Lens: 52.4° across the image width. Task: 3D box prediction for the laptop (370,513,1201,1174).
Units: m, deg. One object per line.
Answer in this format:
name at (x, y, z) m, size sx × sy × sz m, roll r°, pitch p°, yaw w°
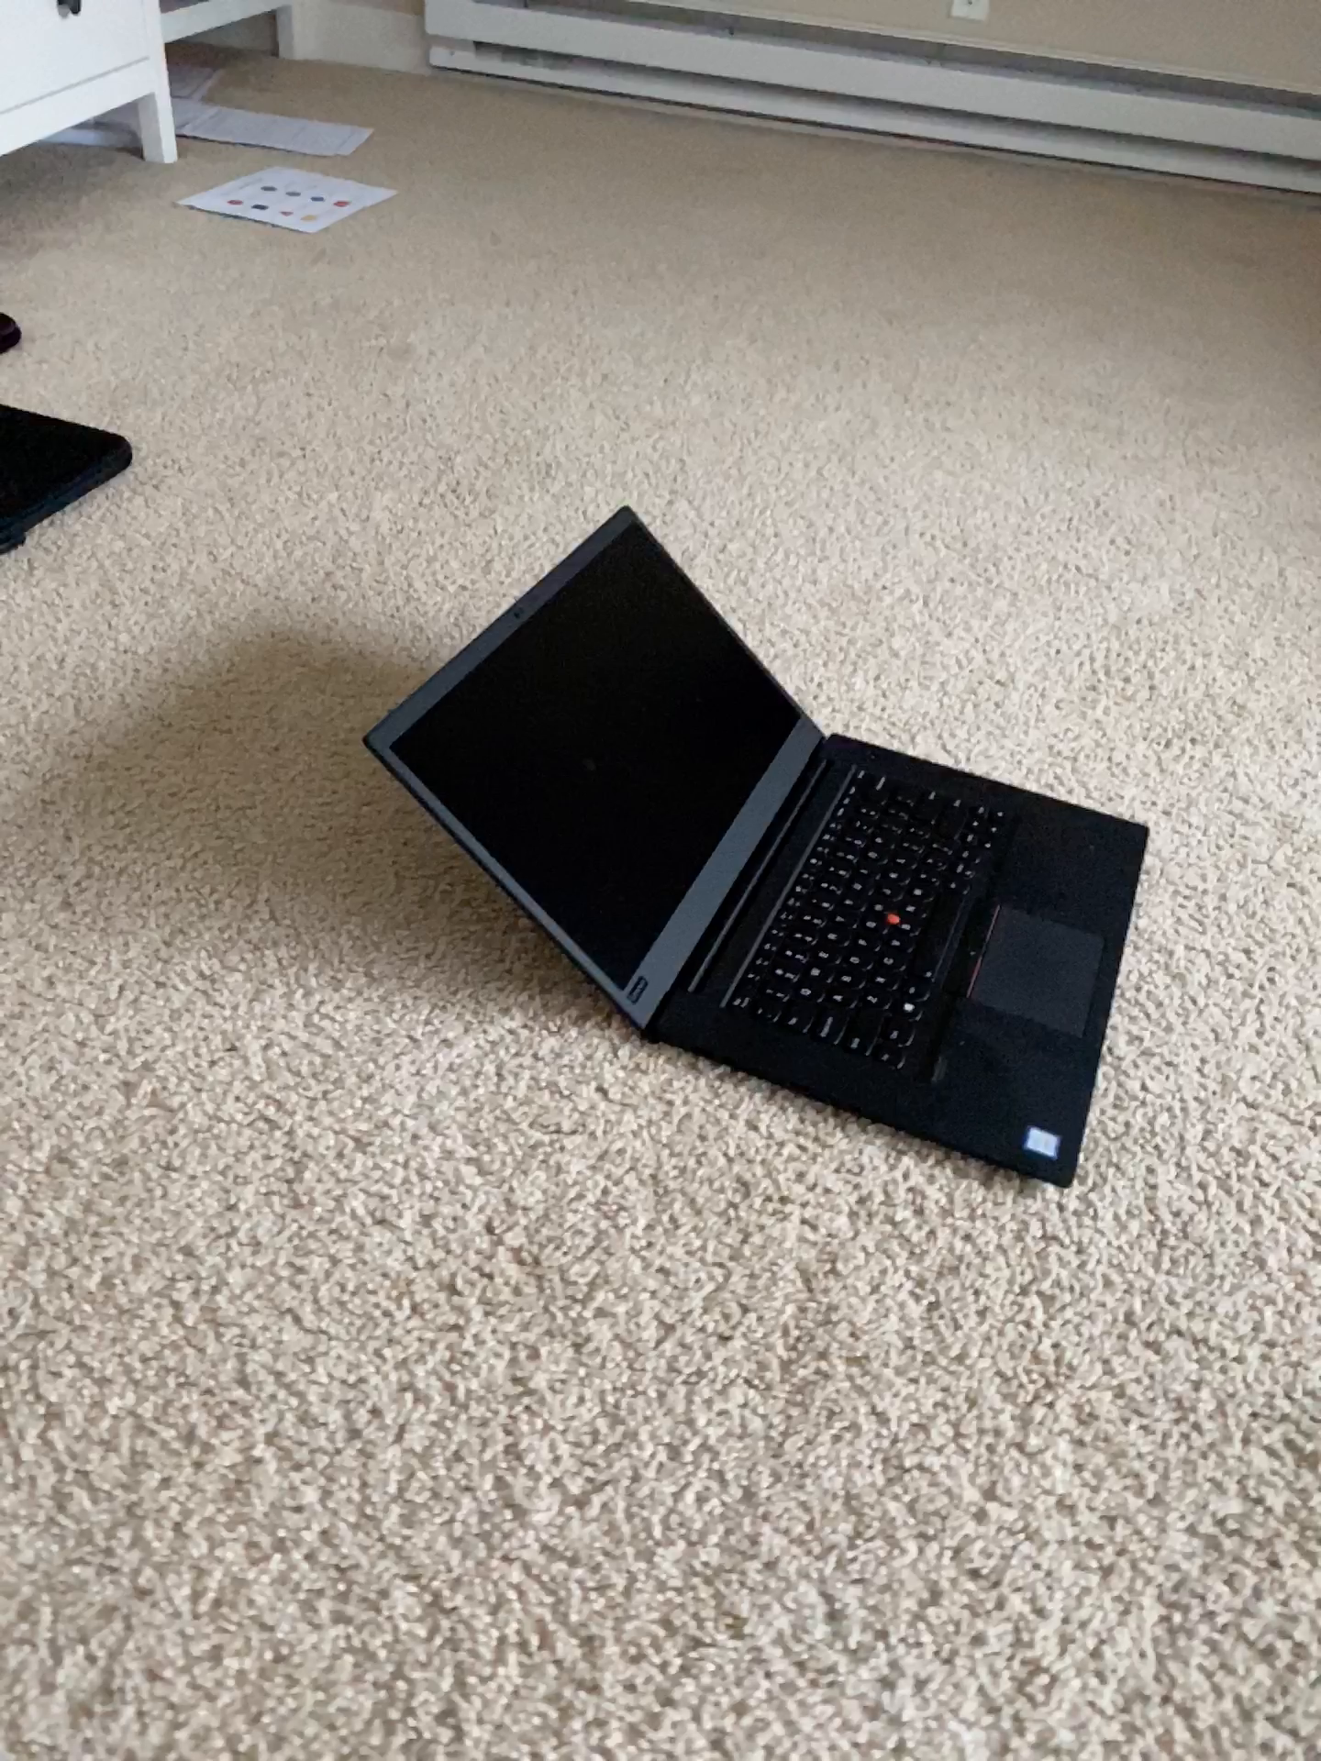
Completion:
laptop at (0.096, -0.059, 0.885) m, size 0.432 × 0.141 × 0.361 m, roll 18°, pitch 41°, yaw 14°
